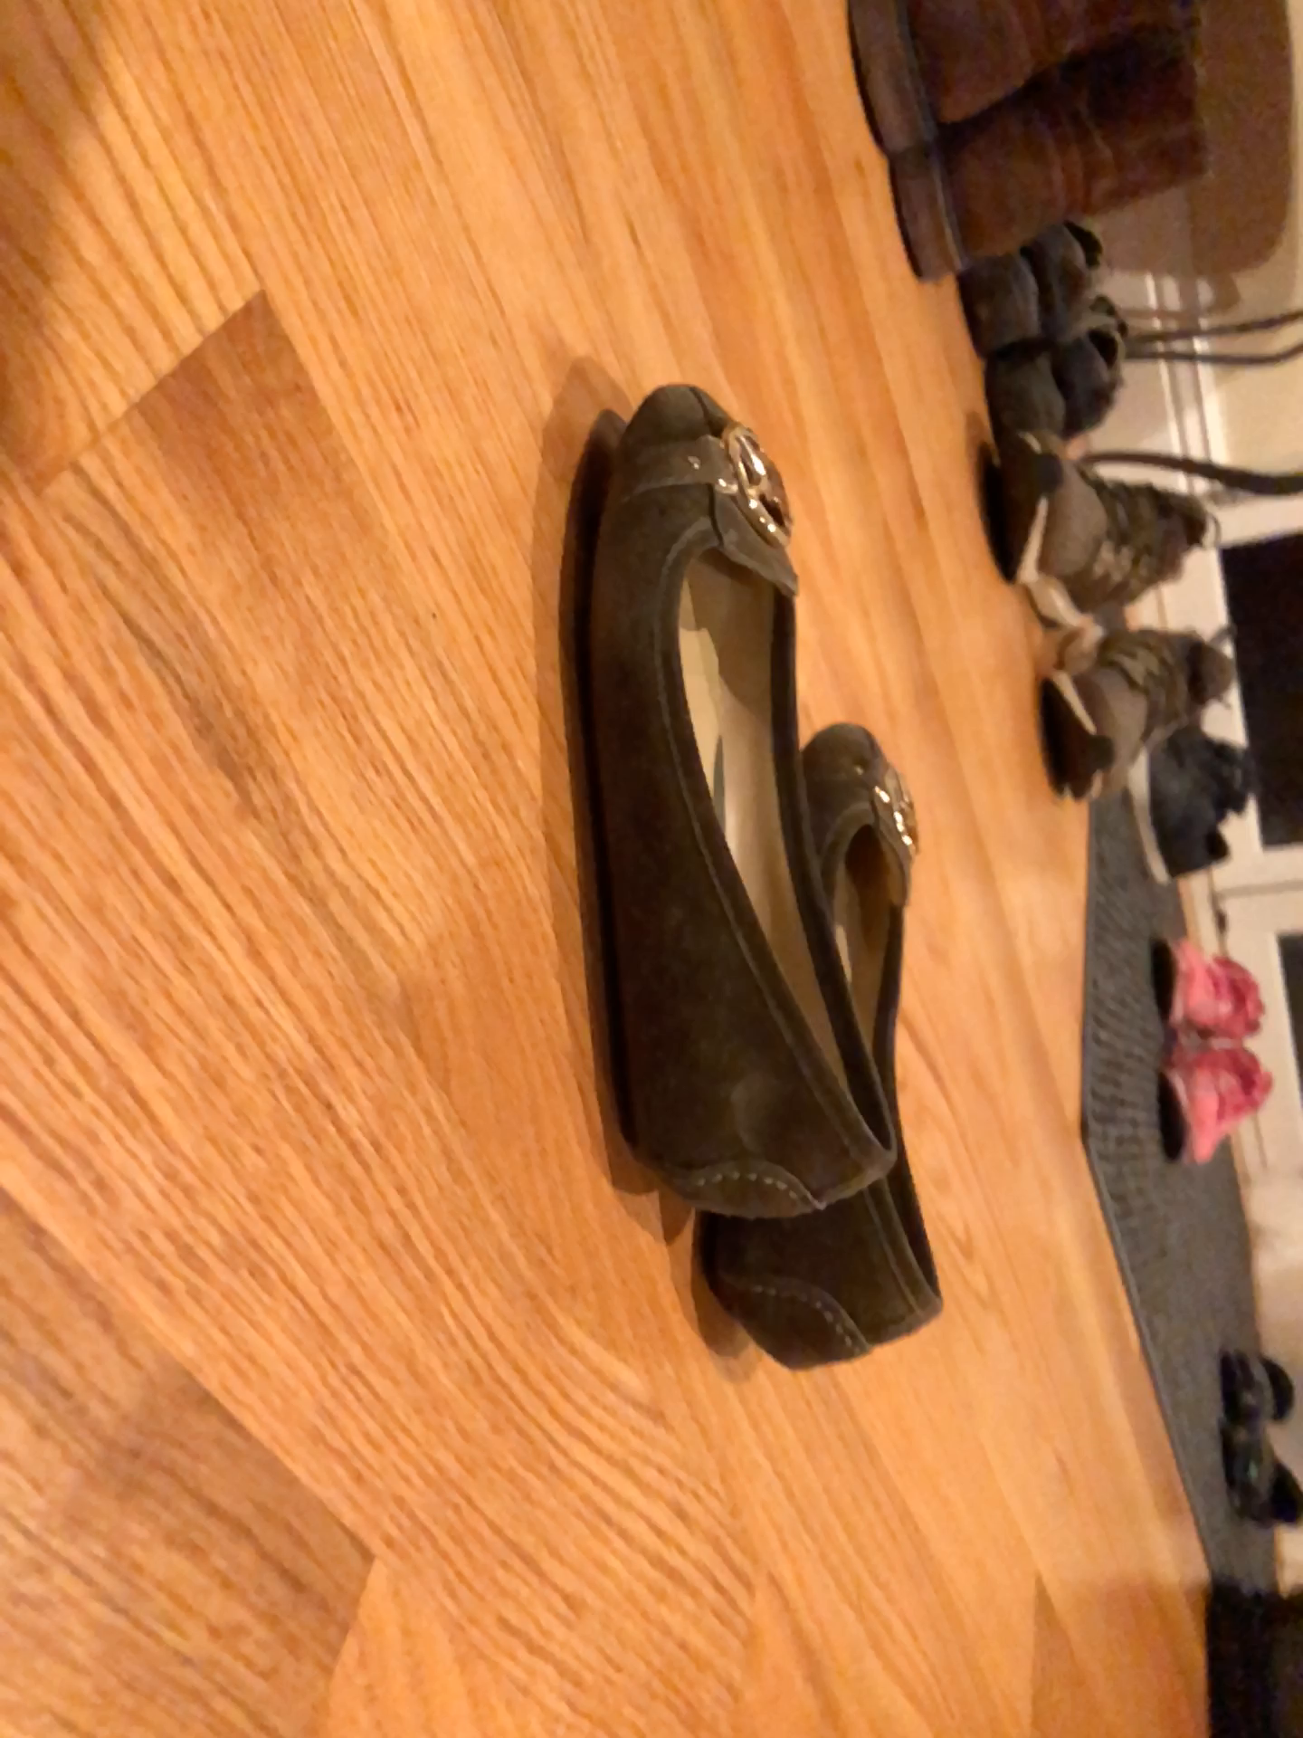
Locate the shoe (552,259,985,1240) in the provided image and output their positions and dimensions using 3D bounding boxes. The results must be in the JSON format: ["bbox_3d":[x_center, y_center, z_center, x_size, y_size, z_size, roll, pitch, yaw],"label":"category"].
[{"bbox_3d":[0.033,-0.025,0.401,0.091,0.079,0.242,21,64,-63],"label":"shoe"}]

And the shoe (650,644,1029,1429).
[{"bbox_3d":[0.074,0.047,0.478,0.091,0.079,0.240,58,34,-43],"label":"shoe"}]
